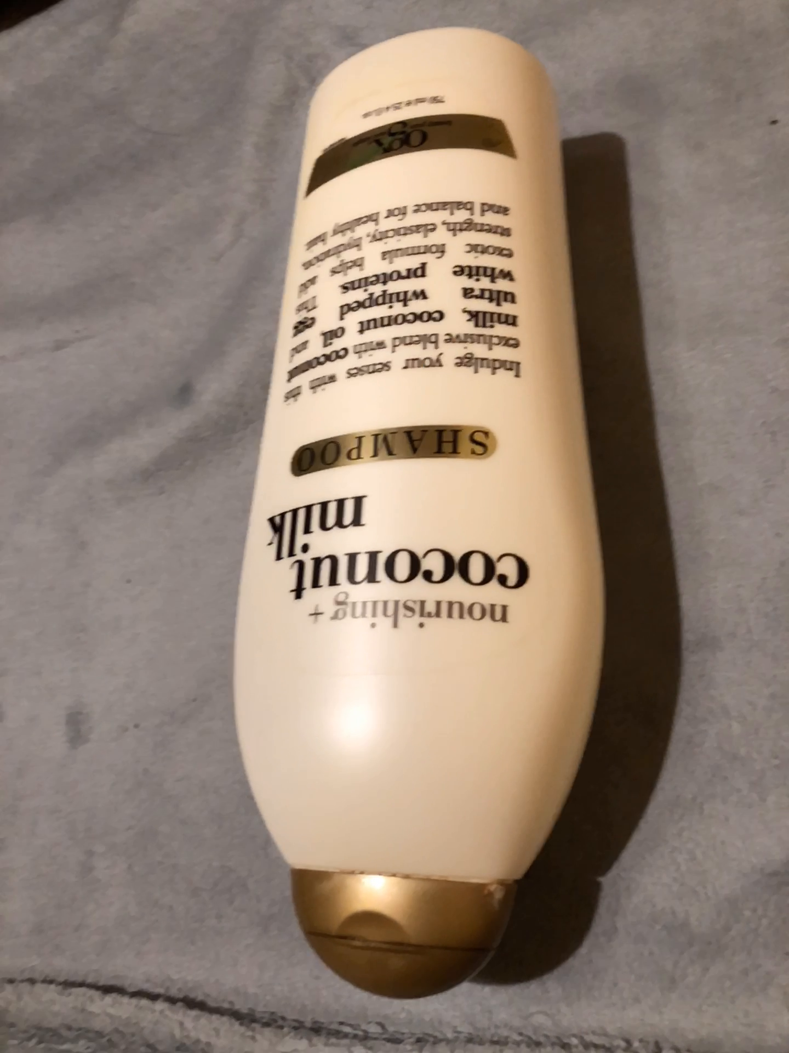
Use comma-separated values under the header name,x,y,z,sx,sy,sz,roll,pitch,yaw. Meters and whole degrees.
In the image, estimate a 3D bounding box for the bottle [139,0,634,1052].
name,x,y,z,sx,sy,sz,roll,pitch,yaw
bottle,0.007,-0.018,0.195,0.080,0.040,0.220,-5,69,23
